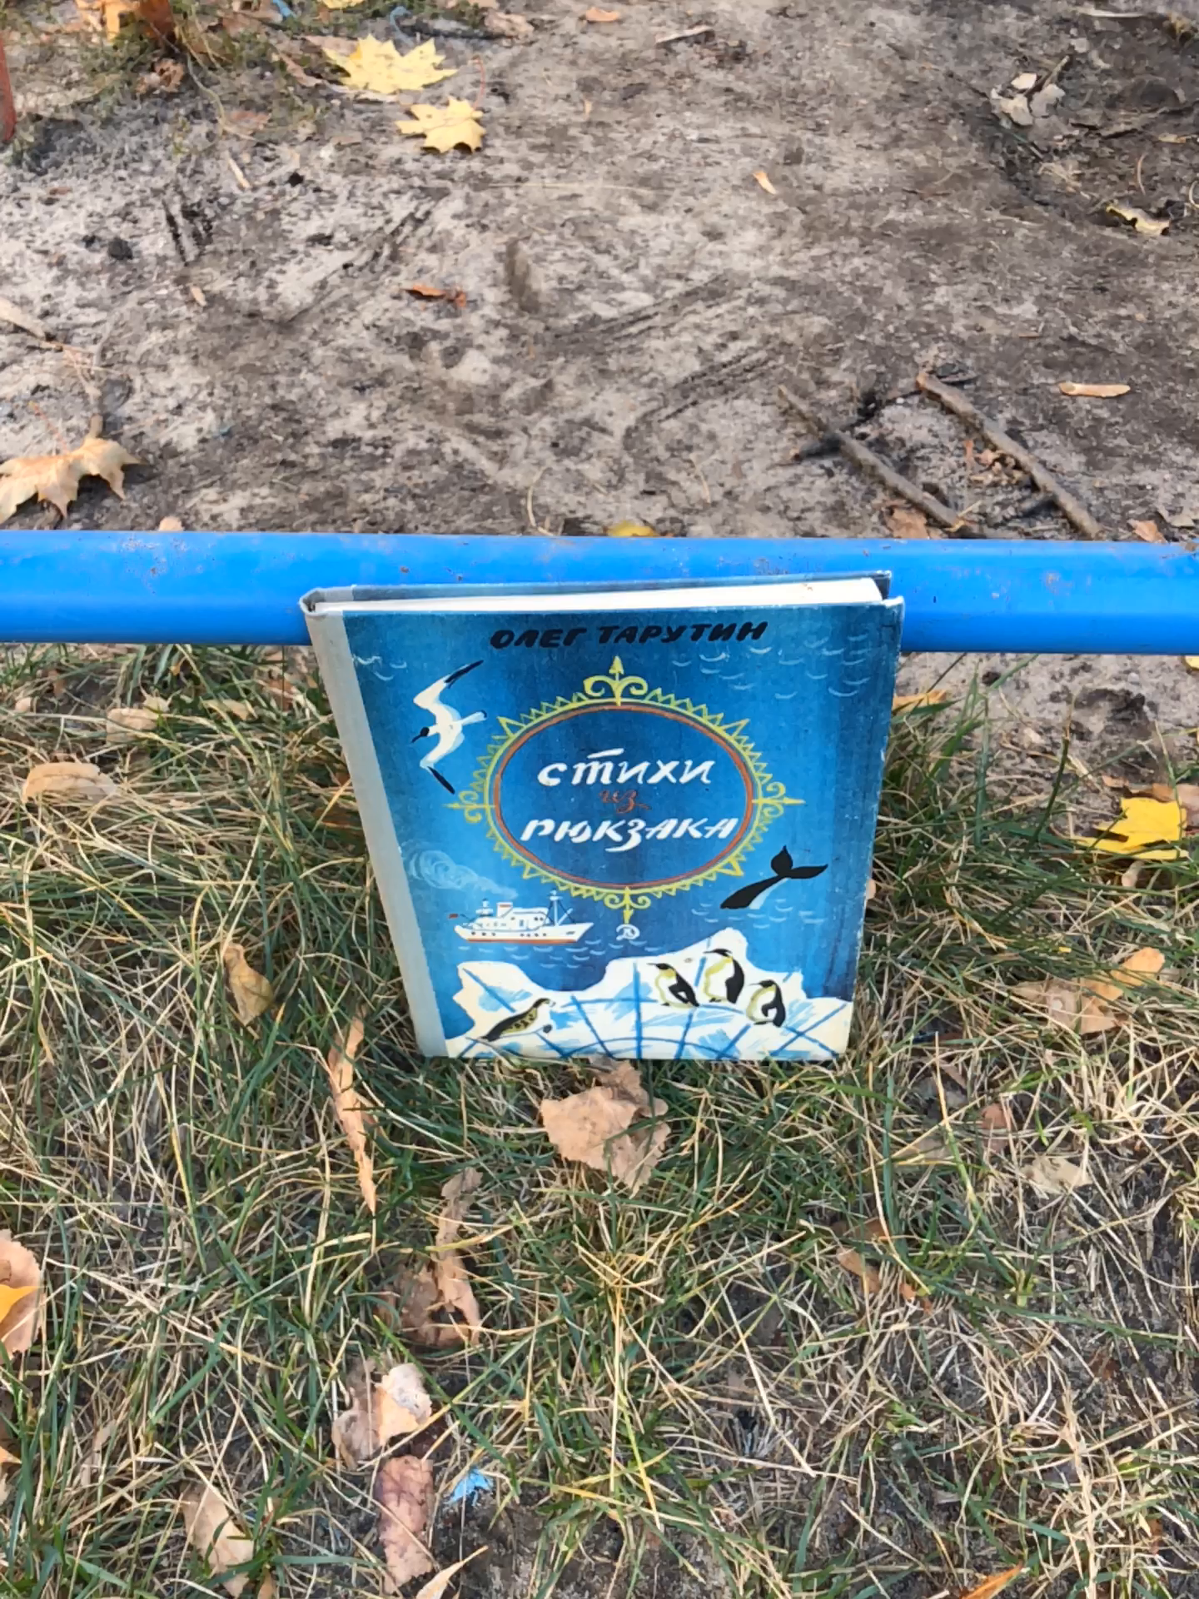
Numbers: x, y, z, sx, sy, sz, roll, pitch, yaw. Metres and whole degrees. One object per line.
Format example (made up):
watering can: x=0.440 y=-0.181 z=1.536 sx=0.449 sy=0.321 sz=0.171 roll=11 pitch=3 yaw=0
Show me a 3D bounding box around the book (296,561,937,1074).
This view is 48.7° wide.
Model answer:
book: x=0.005 y=0.018 z=0.447 sx=0.179 sy=0.209 sz=0.023 roll=-1 pitch=41 yaw=-1
